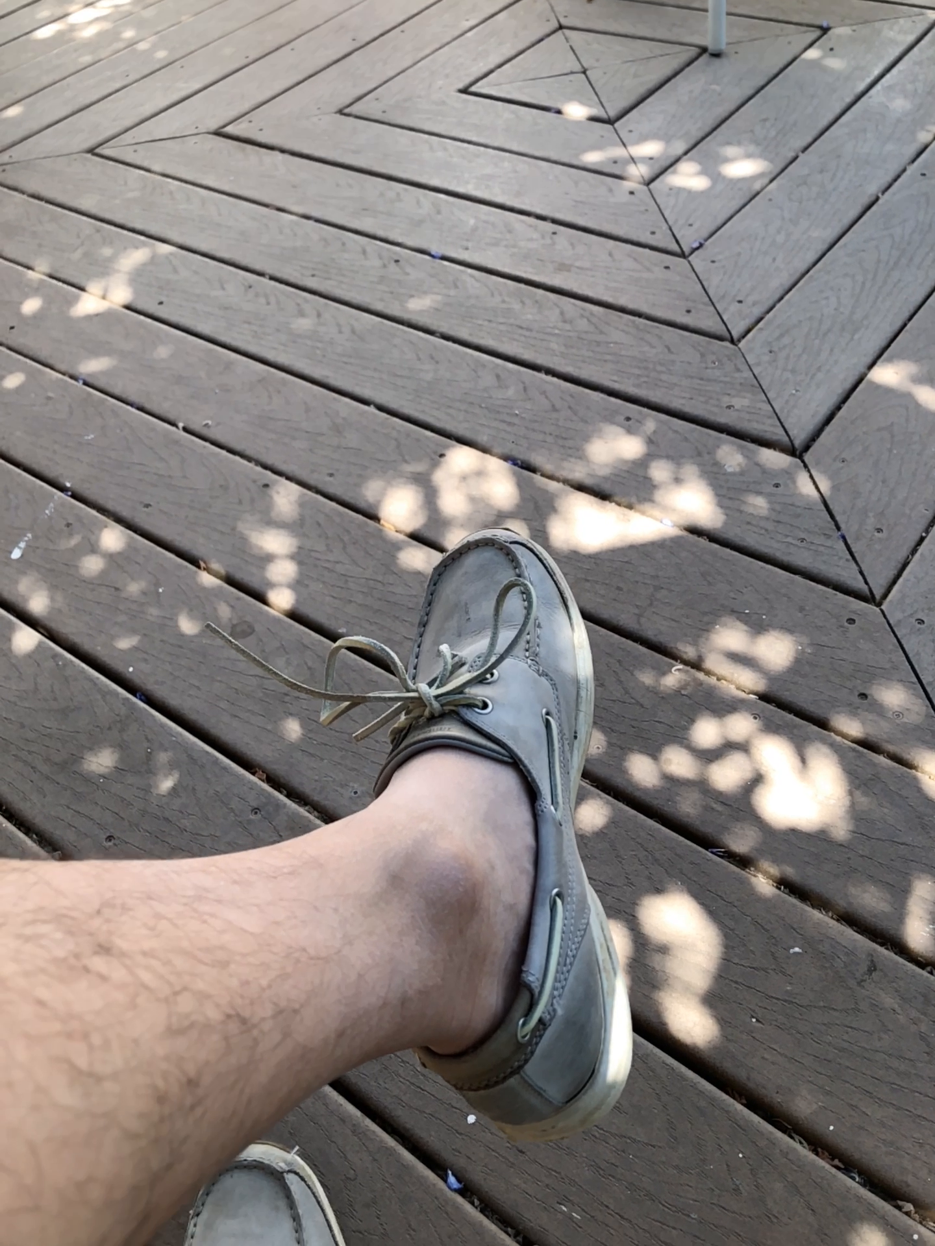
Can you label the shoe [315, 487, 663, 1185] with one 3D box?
[{"bbox_3d":[0.010,0.093,0.530,0.110,0.092,0.324,-30,41,31],"label":"shoe"}]
